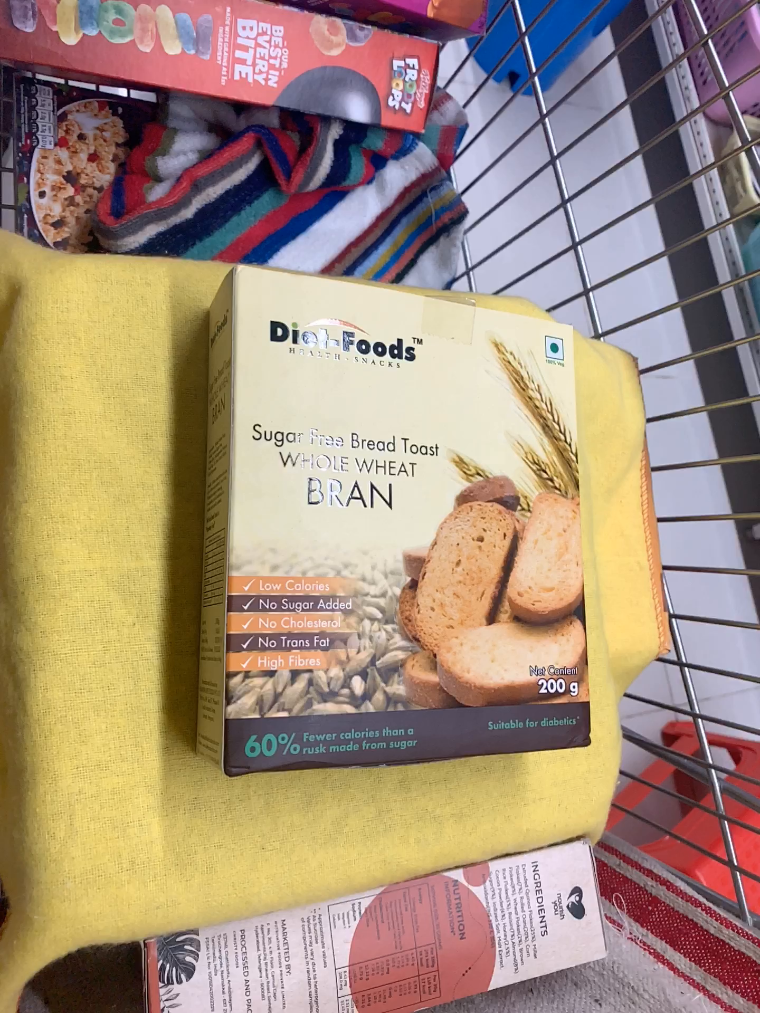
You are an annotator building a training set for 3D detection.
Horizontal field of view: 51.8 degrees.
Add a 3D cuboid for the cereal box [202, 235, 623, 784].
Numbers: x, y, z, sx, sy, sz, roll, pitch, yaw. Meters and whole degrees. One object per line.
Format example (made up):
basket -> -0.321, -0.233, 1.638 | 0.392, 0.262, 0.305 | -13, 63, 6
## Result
cereal box -> 0.012, 0.004, 0.289 | 0.140, 0.050, 0.170 | 4, 79, -23
